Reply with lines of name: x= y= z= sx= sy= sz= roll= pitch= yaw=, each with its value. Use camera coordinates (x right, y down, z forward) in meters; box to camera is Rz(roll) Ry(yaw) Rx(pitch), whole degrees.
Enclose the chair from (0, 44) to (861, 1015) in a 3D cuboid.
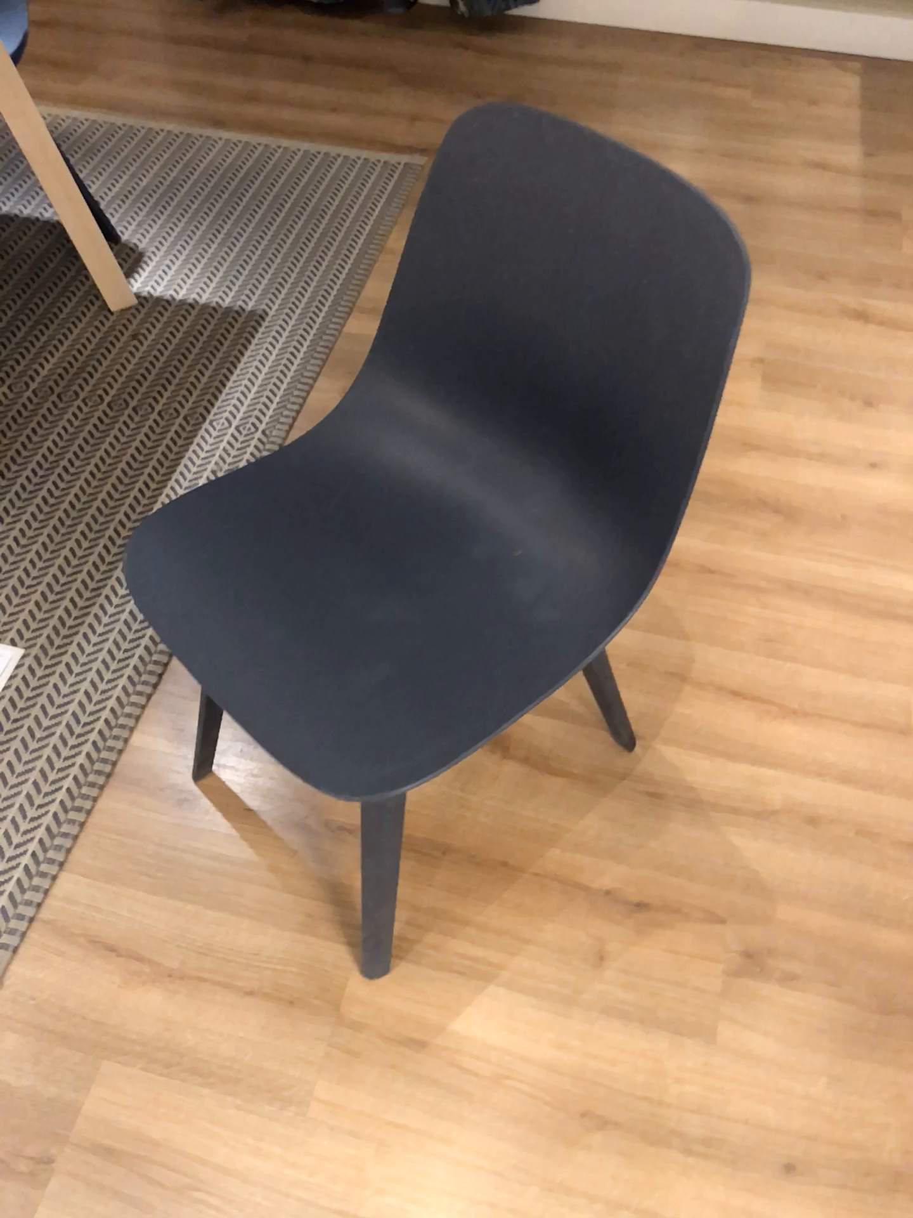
chair: x=-0.048 y=-0.055 z=1.068 sx=0.561 sy=0.728 sz=0.471 roll=-36 pitch=61 yaw=-25
